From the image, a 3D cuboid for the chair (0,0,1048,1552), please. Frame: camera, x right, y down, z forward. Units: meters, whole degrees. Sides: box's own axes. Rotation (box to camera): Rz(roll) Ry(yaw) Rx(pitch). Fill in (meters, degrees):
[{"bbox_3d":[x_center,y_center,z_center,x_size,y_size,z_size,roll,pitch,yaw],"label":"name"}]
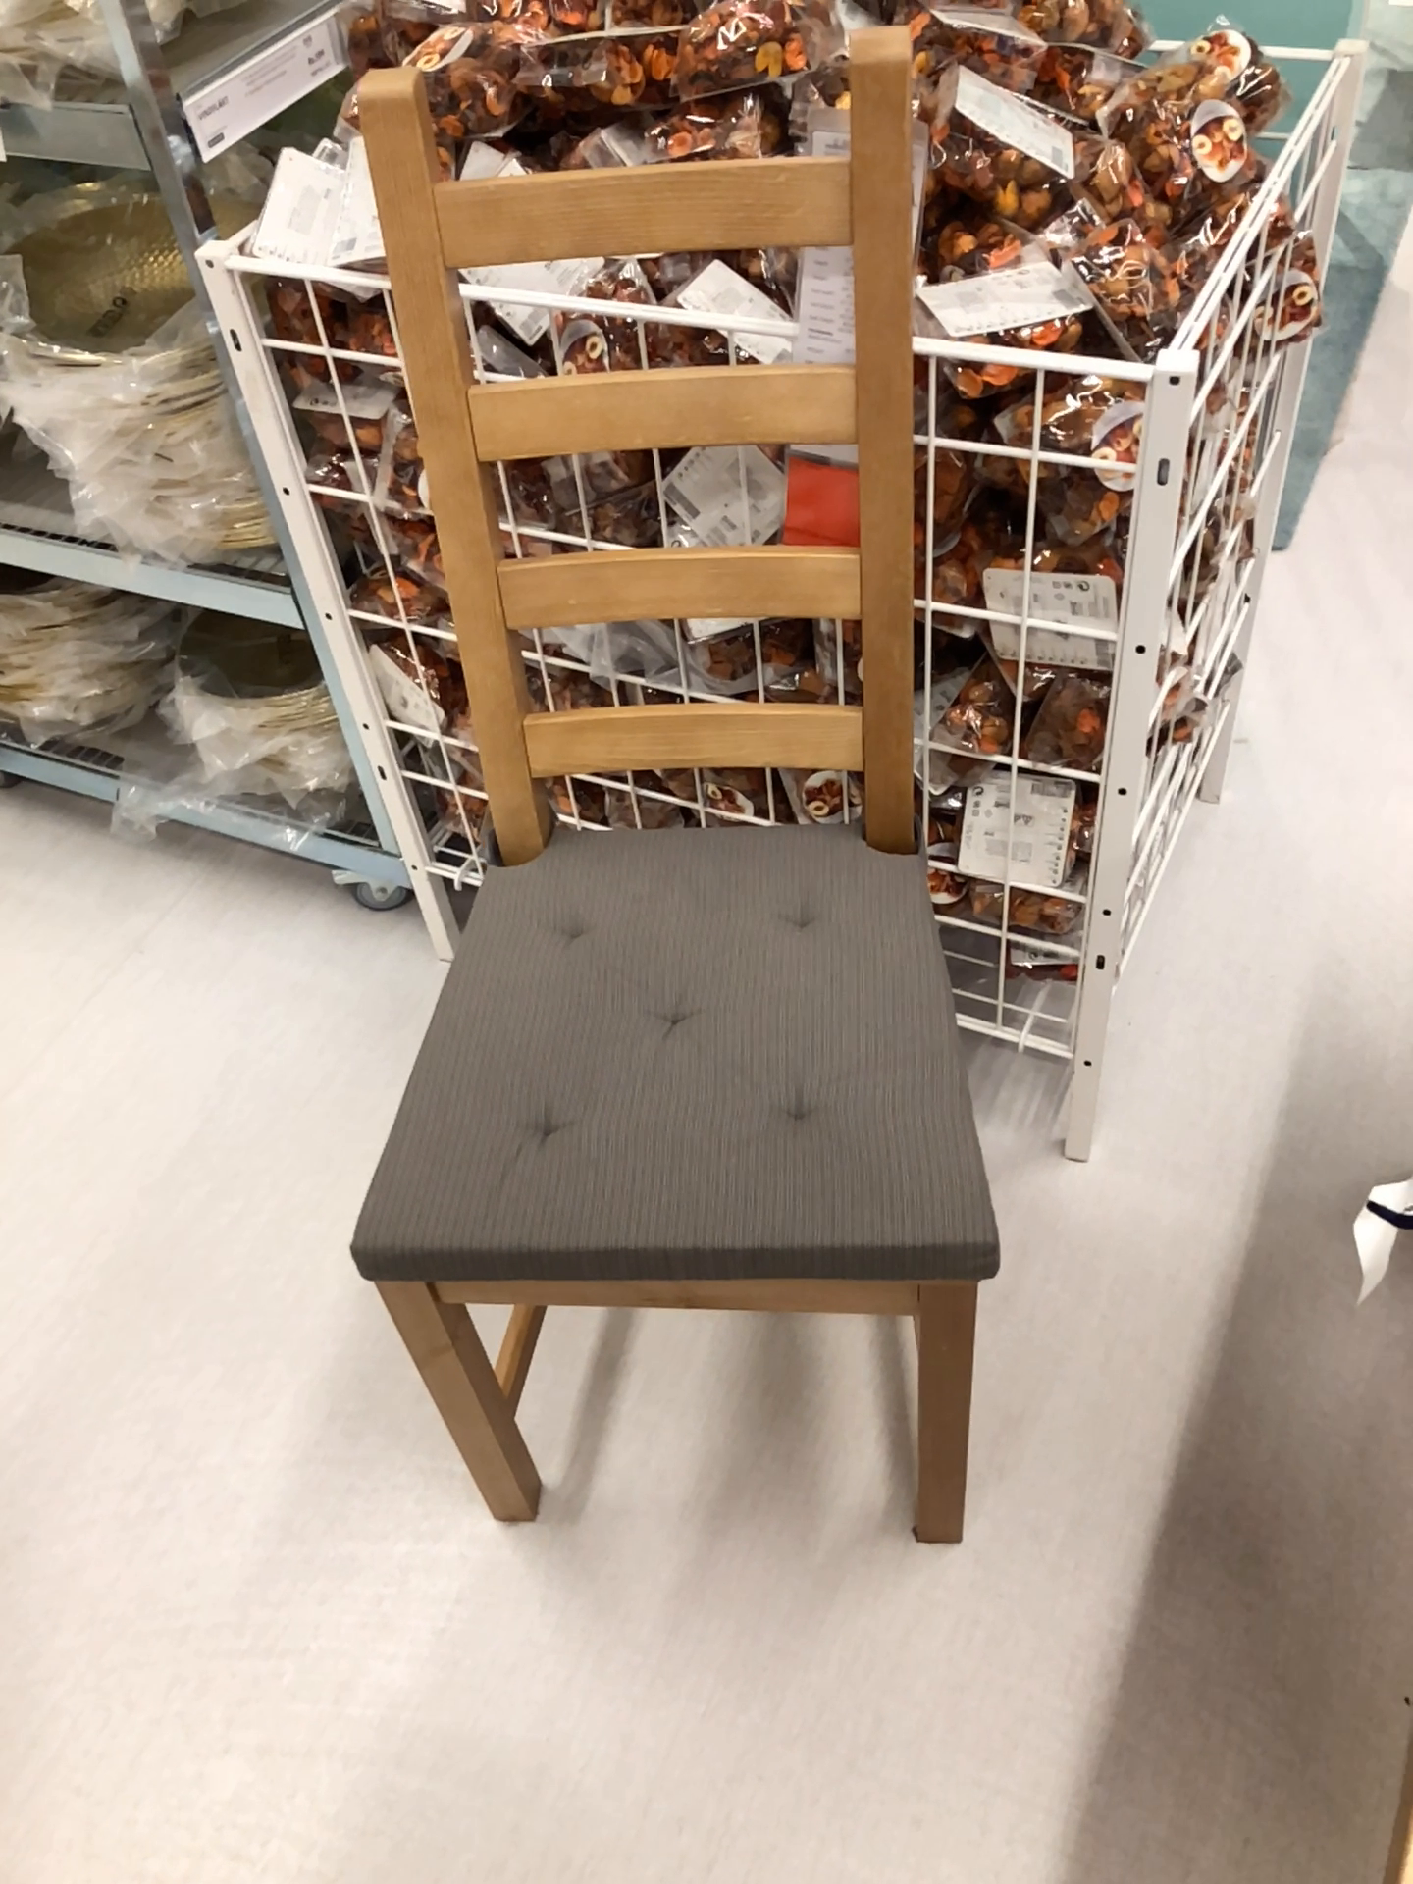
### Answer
[{"bbox_3d":[-0.044,-0.024,1.011,0.430,0.914,0.473,-1,47,7],"label":"chair"}]
